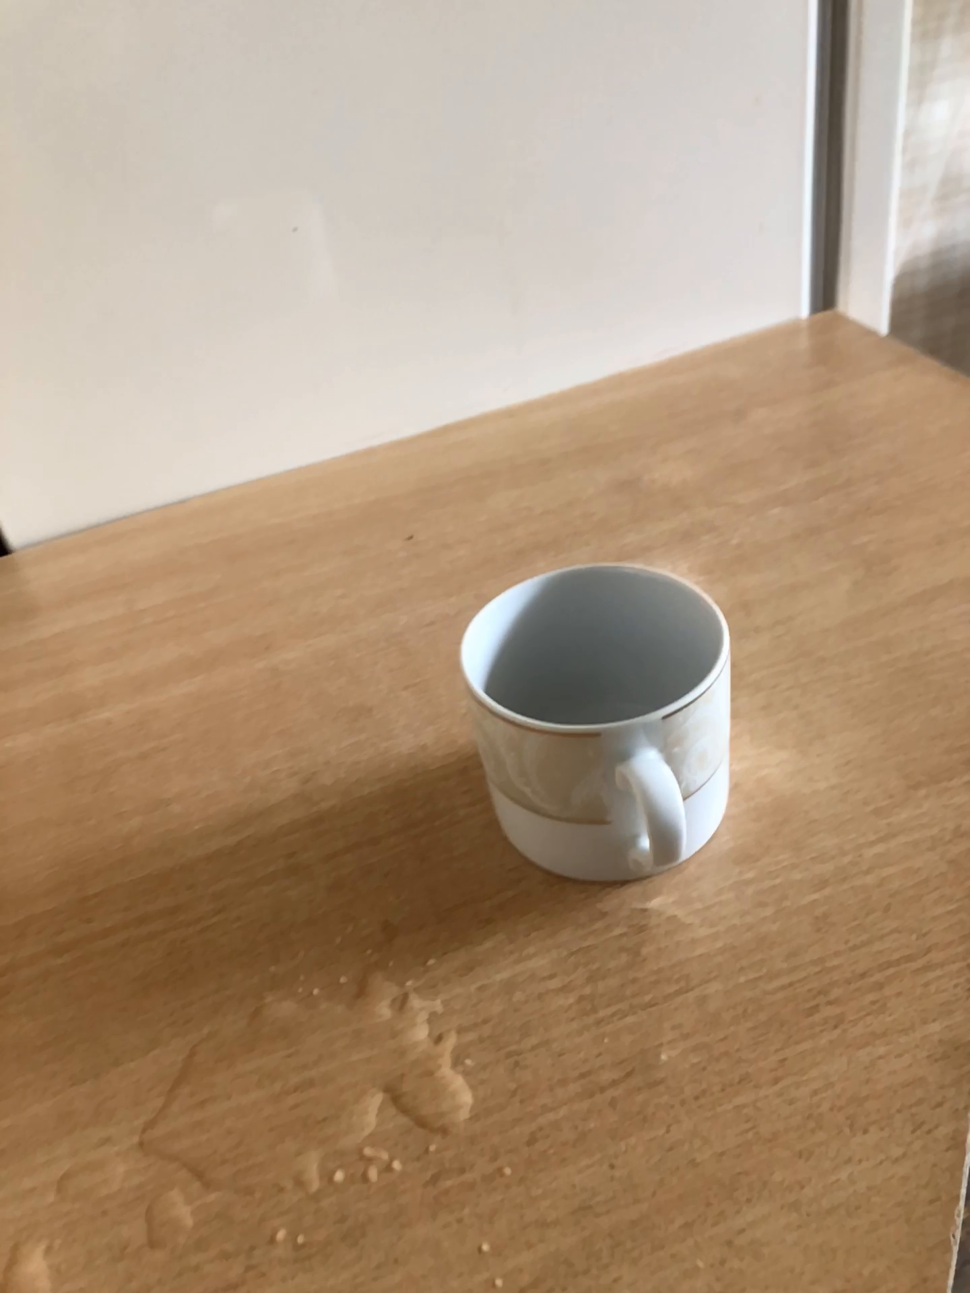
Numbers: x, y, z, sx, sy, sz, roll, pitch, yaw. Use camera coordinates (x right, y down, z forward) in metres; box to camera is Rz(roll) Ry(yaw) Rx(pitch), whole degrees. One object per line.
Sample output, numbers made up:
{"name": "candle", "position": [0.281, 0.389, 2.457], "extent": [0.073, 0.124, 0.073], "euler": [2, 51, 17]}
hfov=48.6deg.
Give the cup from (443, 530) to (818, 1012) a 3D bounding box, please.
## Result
{"name": "cup", "position": [0.037, 0.030, 0.305], "extent": [0.074, 0.070, 0.105], "euler": [-12, 37, -1]}
